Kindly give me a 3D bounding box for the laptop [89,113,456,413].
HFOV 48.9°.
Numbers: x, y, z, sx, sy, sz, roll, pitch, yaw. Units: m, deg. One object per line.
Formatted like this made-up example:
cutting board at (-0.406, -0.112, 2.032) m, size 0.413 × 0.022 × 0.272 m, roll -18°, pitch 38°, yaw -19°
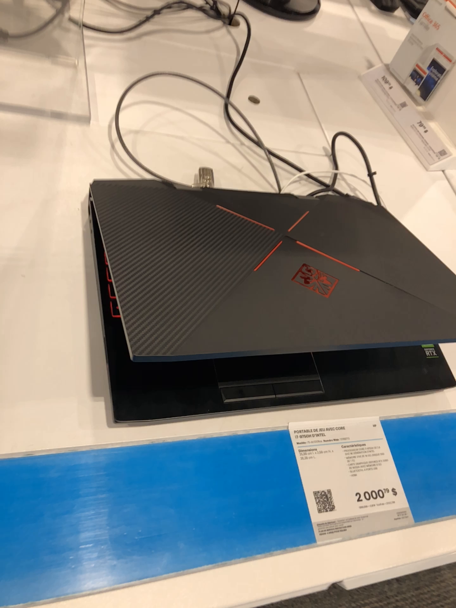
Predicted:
laptop at (0.064, -0.040, 0.469) m, size 0.347 × 0.085 × 0.235 m, roll 0°, pitch 58°, yaw -23°
